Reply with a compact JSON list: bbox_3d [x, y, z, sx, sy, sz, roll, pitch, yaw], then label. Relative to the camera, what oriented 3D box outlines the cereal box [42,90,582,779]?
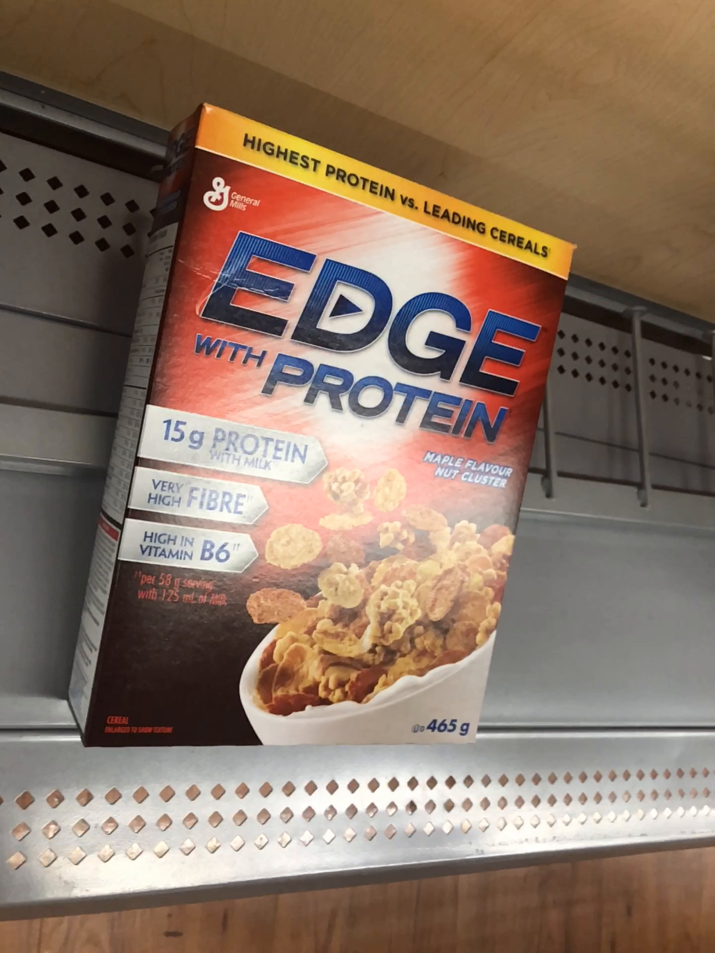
[{"bbox_3d":[-0.016,-0.003,0.370,0.200,0.070,0.260,10,90,-27],"label":"cereal box"}]
